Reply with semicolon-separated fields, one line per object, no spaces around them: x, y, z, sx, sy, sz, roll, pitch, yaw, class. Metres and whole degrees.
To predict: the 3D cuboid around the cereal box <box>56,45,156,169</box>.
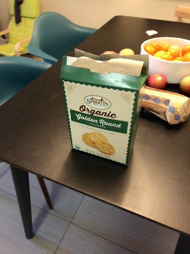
0.023;-0.036;0.470;0.170;0.248;0.081;15;44;16;cereal box
